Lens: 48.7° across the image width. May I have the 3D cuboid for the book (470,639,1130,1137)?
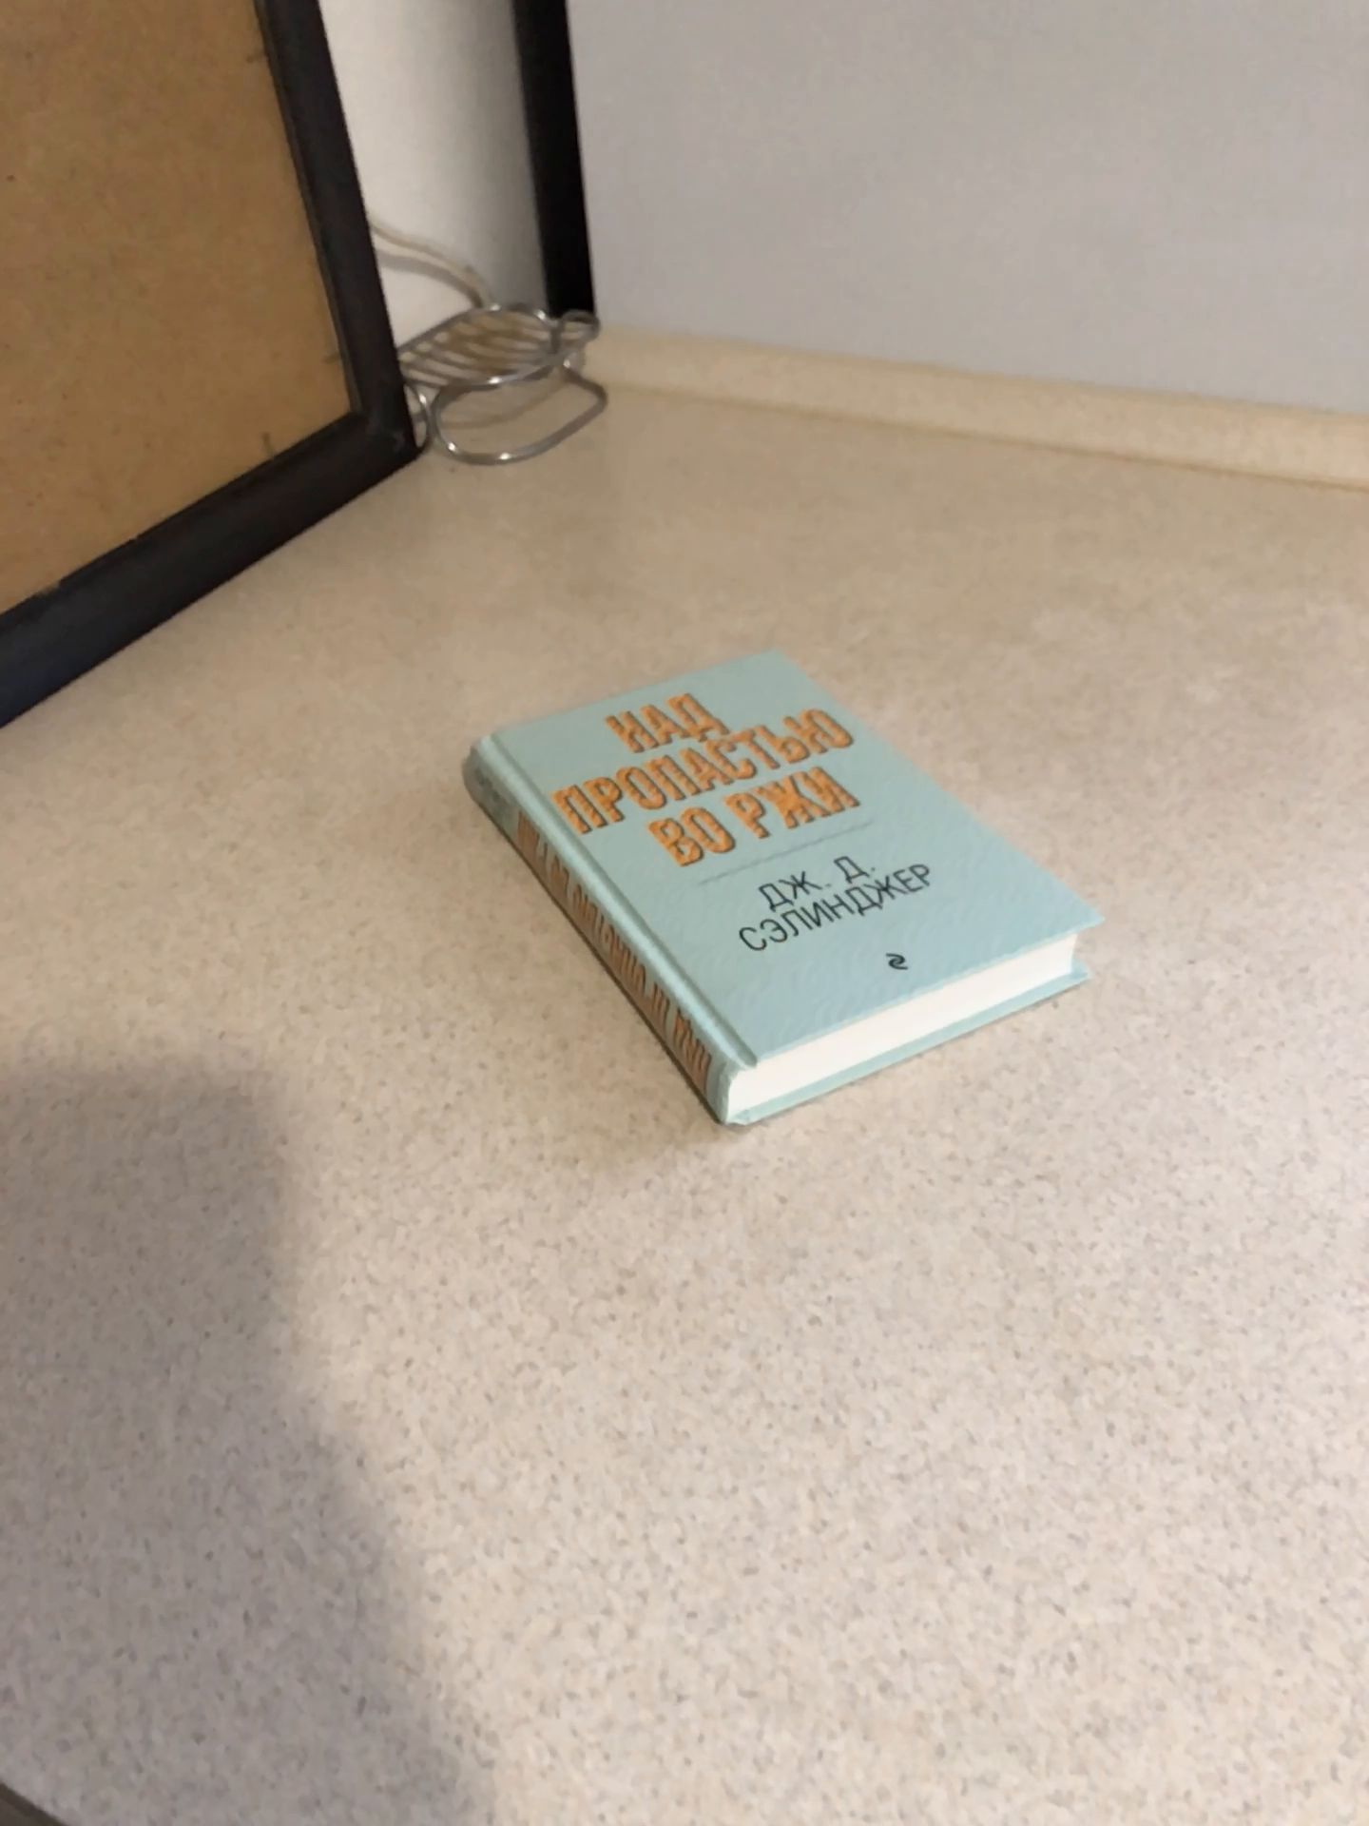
[{"bbox_3d":[0.024,-0.020,0.440,0.115,0.020,0.176,-20,41,-19],"label":"book"}]
